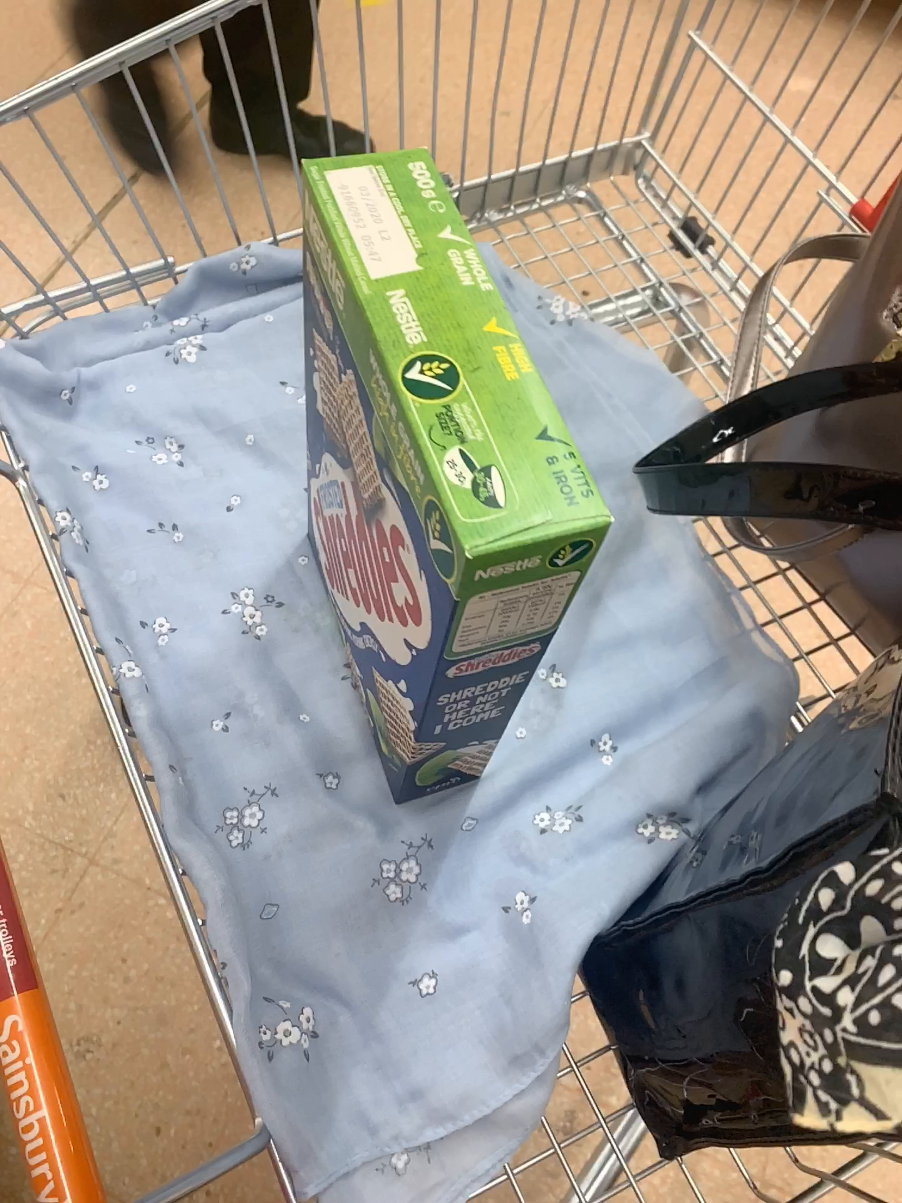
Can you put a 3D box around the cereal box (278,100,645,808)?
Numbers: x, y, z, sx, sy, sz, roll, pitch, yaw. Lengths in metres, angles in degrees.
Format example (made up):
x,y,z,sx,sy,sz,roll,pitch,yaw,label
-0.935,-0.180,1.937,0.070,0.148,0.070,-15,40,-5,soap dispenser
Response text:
x,y,z,sx,sy,sz,roll,pitch,yaw,label
-0.018,-0.040,0.445,0.060,0.288,0.201,-16,66,-14,cereal box
